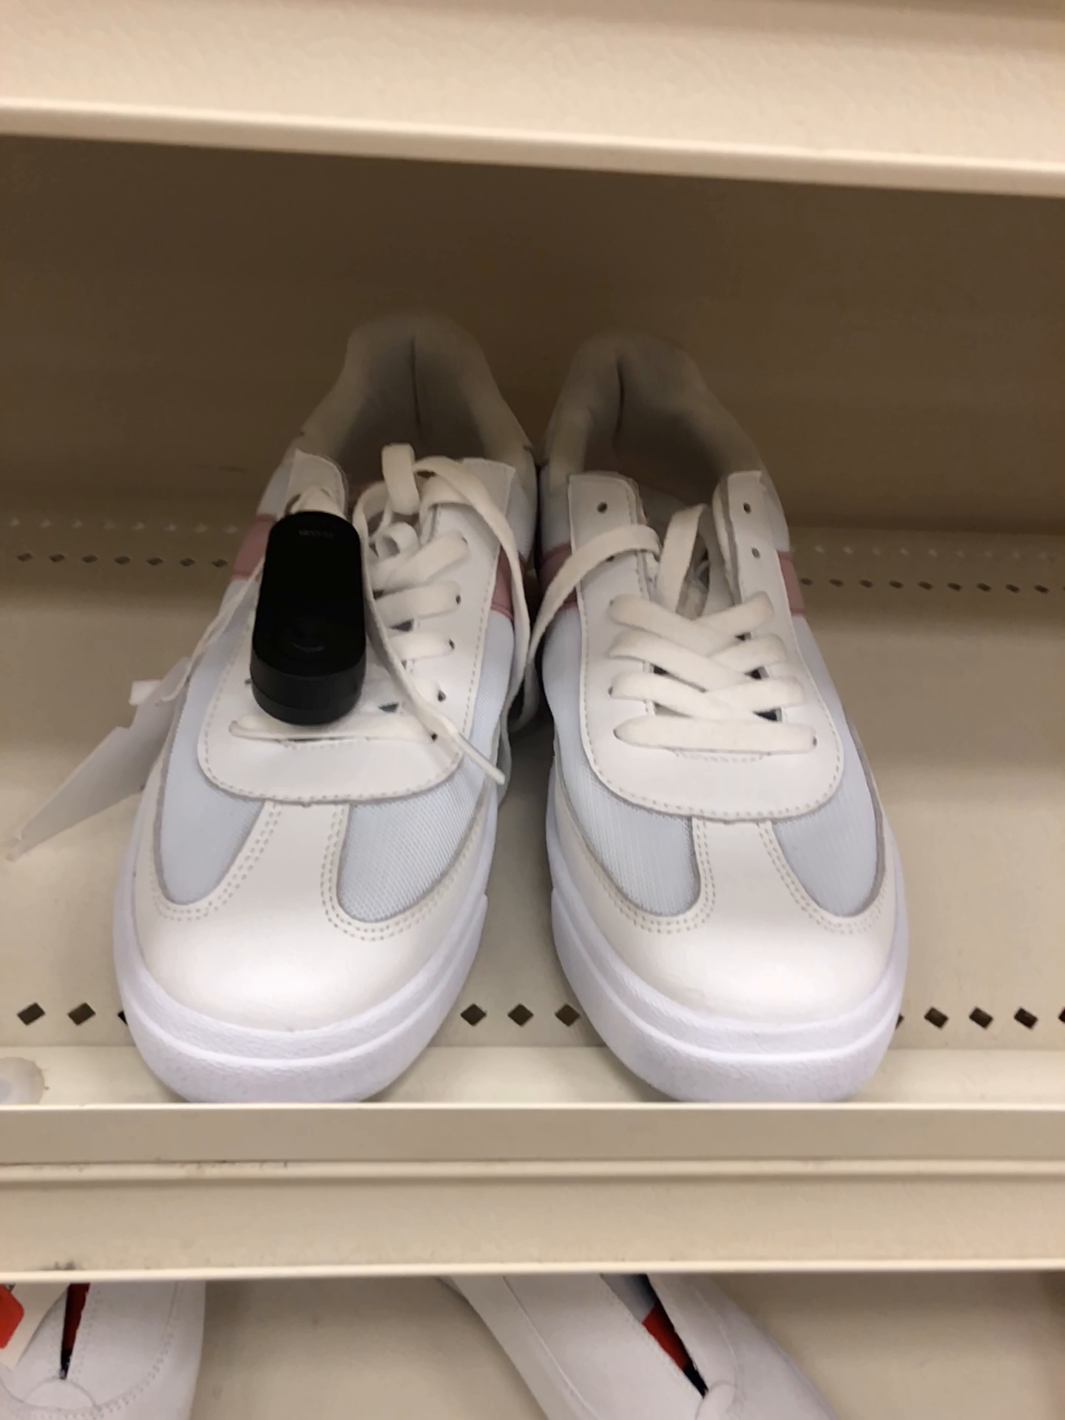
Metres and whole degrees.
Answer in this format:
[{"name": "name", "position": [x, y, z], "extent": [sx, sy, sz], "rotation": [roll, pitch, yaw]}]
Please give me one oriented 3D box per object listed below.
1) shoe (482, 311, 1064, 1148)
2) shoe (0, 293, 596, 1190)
[{"name": "shoe", "position": [0.052, -0.047, 0.402], "extent": [0.120, 0.119, 0.393], "rotation": [1, 25, -5]}, {"name": "shoe", "position": [-0.051, -0.048, 0.380], "extent": [0.120, 0.119, 0.393], "rotation": [3, 25, -1]}]
